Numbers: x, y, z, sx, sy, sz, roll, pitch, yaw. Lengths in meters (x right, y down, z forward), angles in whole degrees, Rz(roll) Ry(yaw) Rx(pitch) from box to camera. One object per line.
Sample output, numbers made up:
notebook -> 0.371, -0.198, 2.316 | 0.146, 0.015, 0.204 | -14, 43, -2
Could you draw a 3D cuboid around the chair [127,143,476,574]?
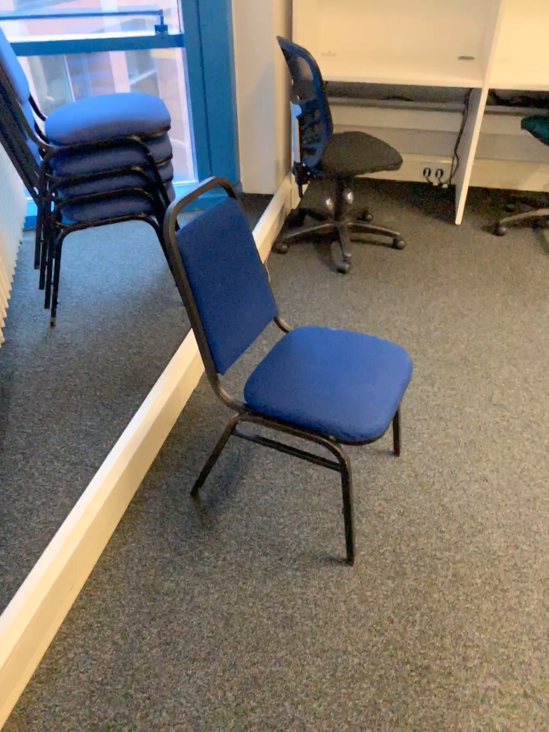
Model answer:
chair -> 0.082, -0.024, 1.403 | 0.575, 0.842, 0.476 | 16, 41, 21
